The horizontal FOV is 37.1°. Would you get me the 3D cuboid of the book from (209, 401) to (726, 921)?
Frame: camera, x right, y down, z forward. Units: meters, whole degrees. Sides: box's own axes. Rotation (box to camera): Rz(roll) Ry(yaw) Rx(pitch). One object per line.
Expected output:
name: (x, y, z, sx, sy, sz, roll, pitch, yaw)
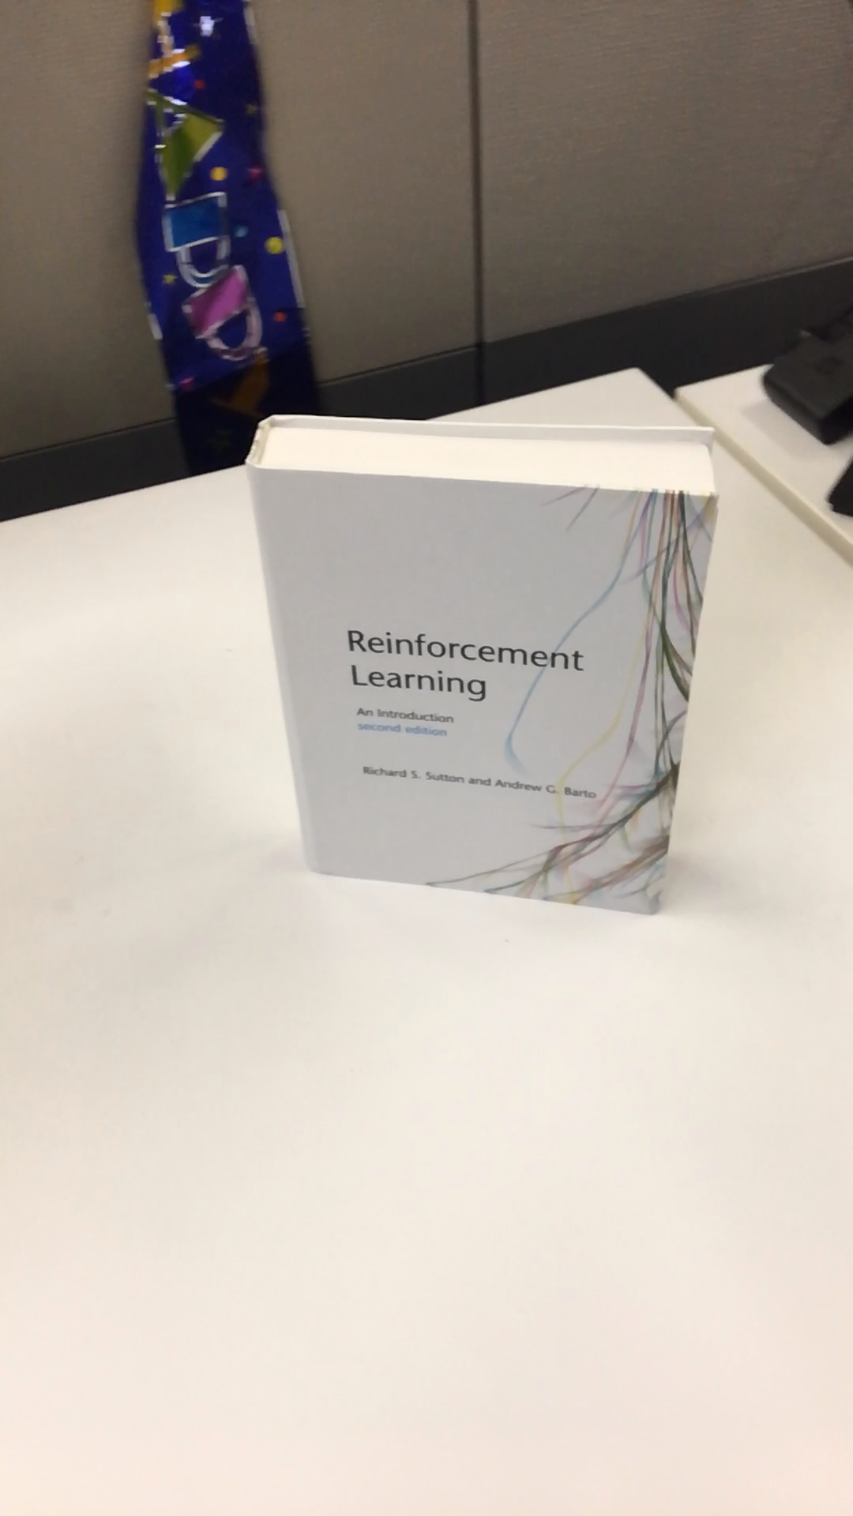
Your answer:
book: (0.021, -0.031, 0.538, 0.180, 0.230, 0.050, 5, 45, 8)
